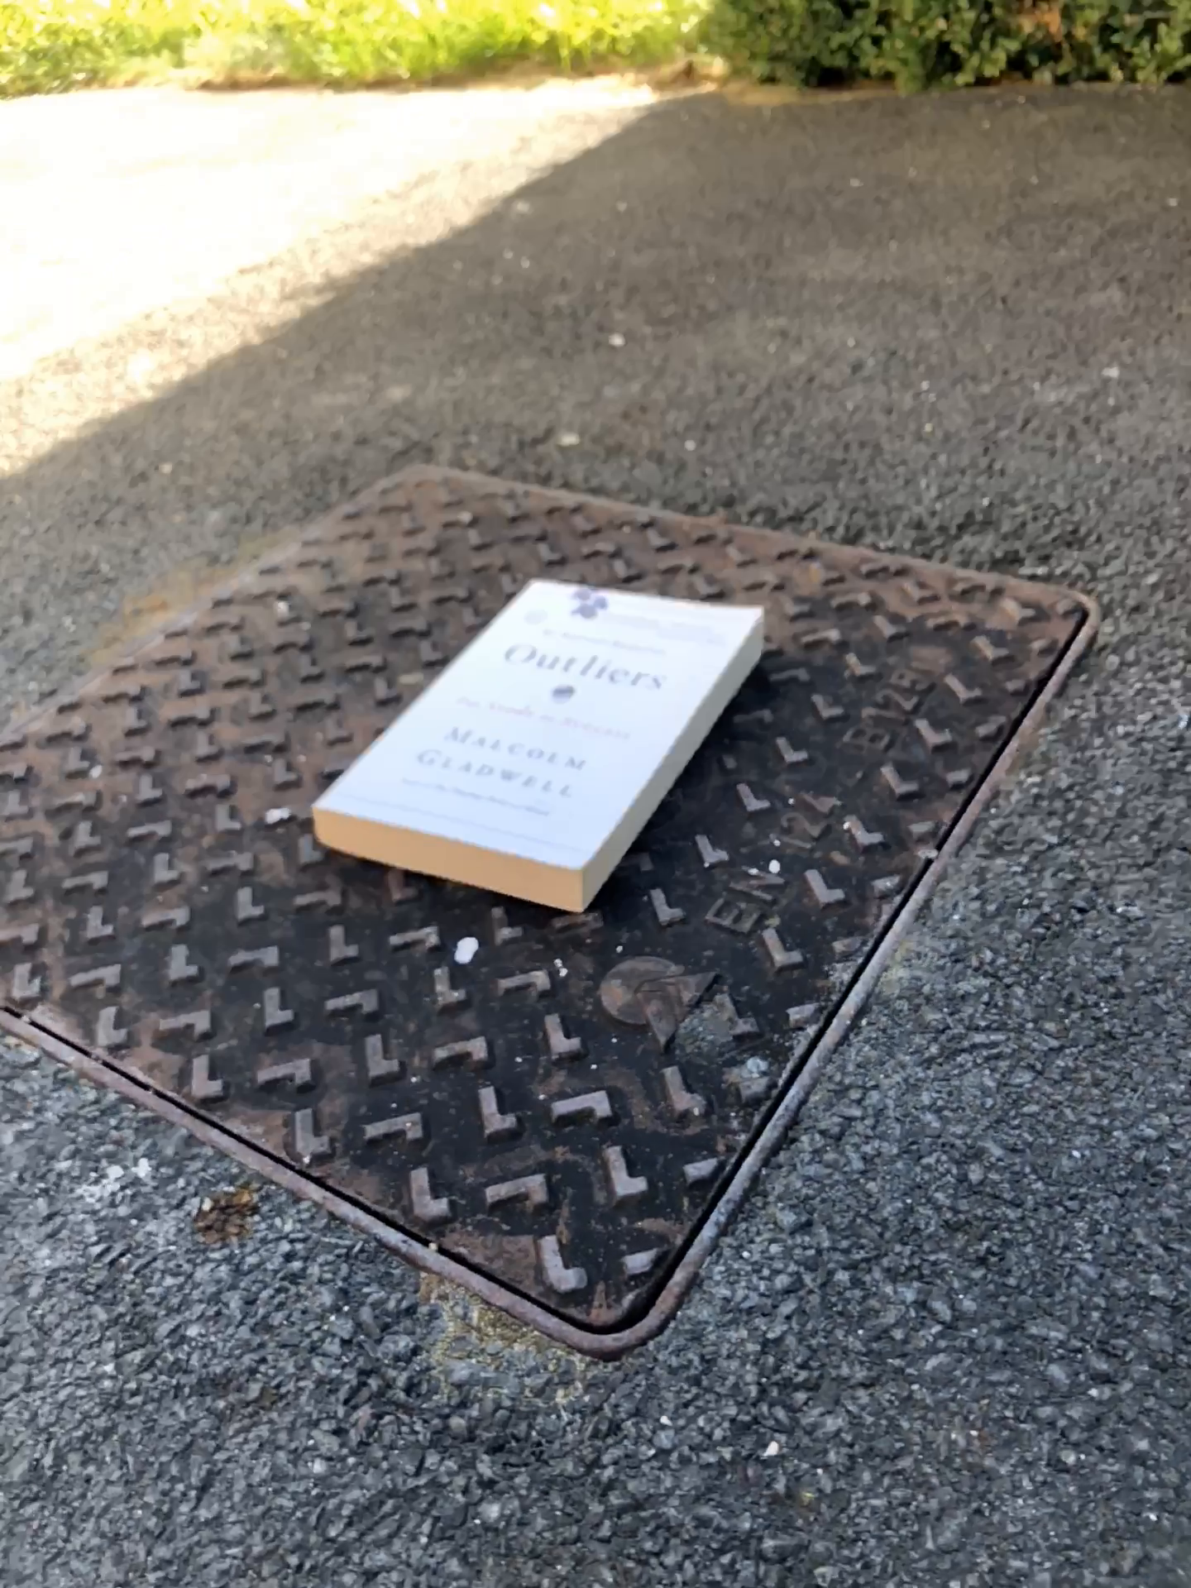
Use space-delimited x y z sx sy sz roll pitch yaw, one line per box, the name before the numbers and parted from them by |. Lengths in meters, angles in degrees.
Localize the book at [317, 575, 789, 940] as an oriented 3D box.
book | -0.011 -0.029 0.626 0.139 0.030 0.211 13 43 24
